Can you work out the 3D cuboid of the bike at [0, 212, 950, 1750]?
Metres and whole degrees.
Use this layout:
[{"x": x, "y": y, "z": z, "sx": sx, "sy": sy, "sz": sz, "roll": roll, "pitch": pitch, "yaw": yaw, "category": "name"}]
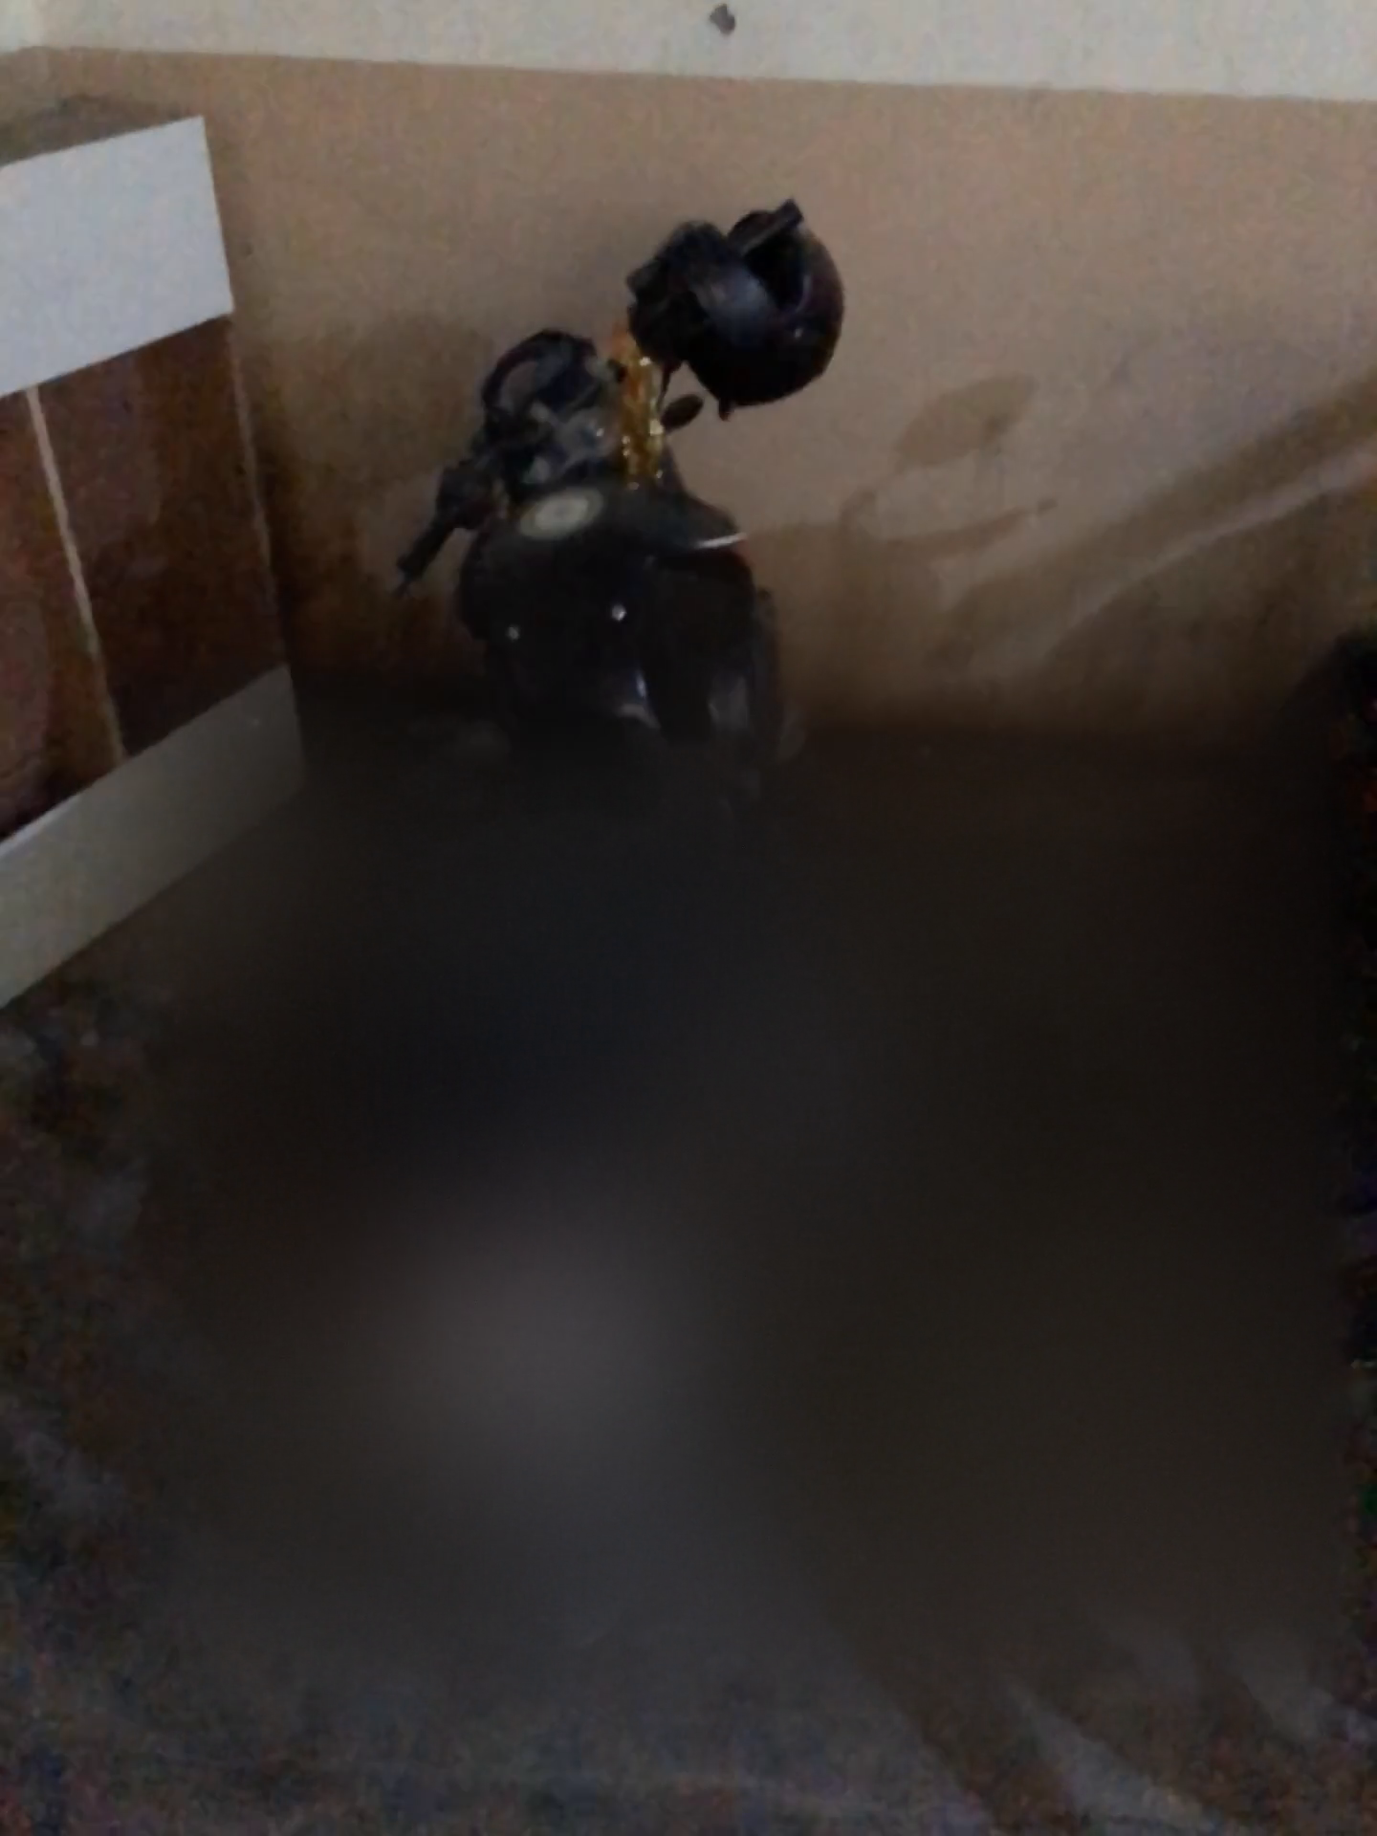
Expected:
[{"x": -0.192, "y": -0.091, "z": 1.959, "sx": 0.717, "sy": 1.179, "sz": 1.713, "roll": 2, "pitch": 37, "yaw": 1, "category": "bike"}]
